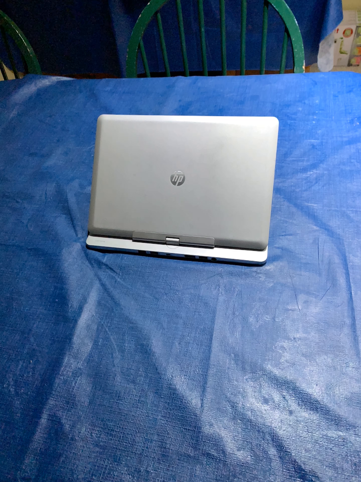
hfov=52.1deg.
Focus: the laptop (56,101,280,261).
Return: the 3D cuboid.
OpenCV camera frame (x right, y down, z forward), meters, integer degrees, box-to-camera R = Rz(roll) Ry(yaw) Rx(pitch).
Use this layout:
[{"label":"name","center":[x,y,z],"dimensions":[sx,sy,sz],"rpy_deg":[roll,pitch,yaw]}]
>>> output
[{"label":"laptop","center":[0.000,-0.103,0.574],"dimensions":[0.279,0.122,0.209],"rpy_deg":[5,52,13]}]
